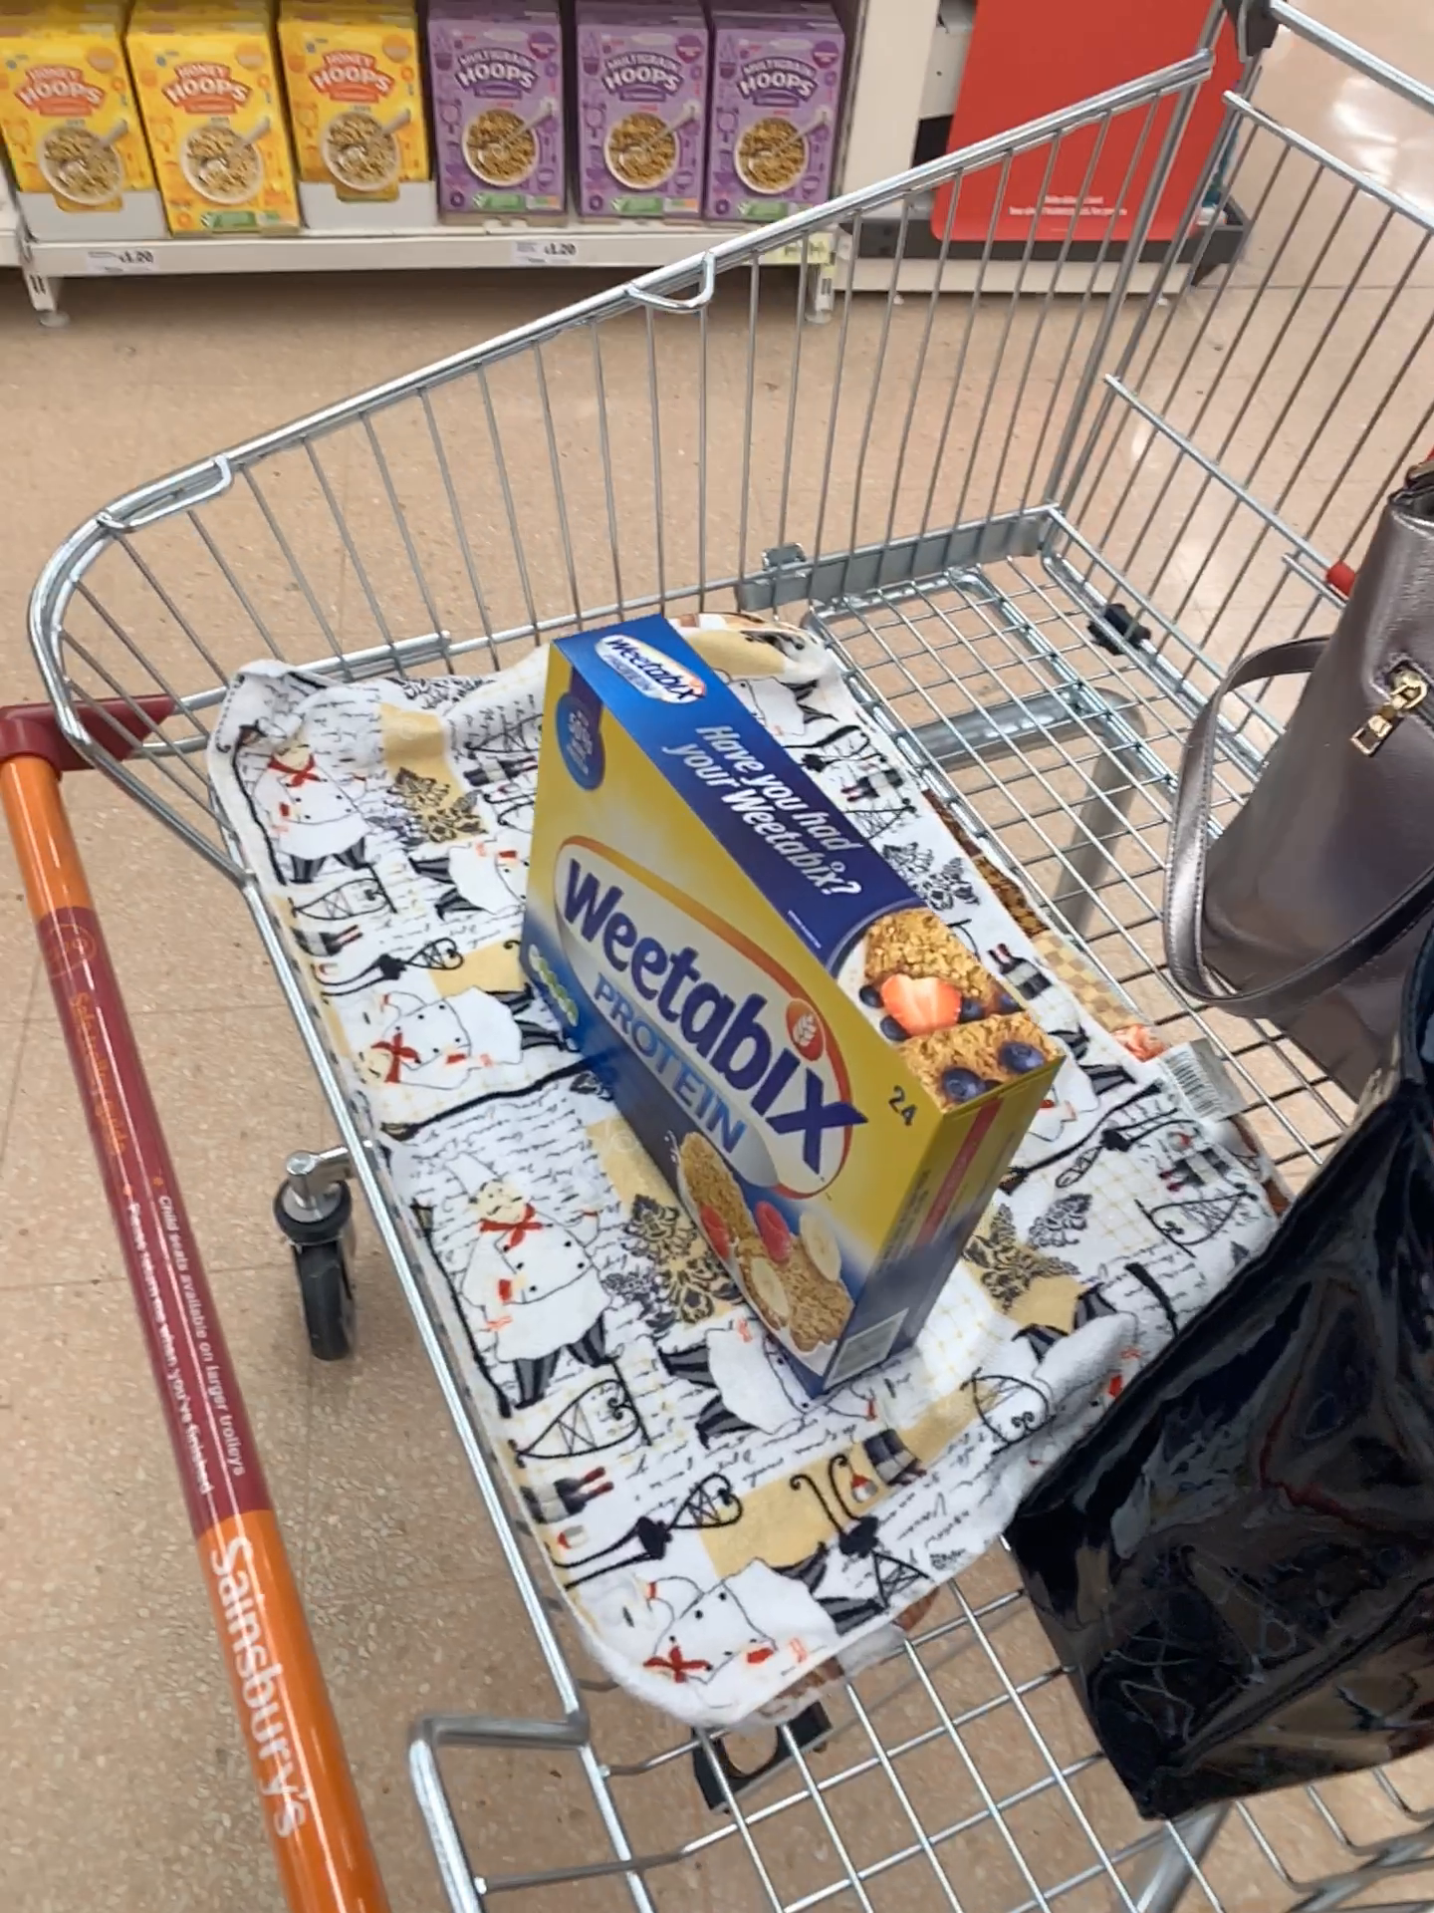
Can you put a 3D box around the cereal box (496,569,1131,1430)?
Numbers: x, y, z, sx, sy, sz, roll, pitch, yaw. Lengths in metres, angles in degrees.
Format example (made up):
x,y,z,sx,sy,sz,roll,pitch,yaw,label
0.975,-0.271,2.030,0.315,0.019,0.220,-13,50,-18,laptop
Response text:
x,y,z,sx,sy,sz,roll,pitch,yaw,label
0.010,0.014,0.557,0.060,0.198,0.261,-21,56,-29,cereal box
